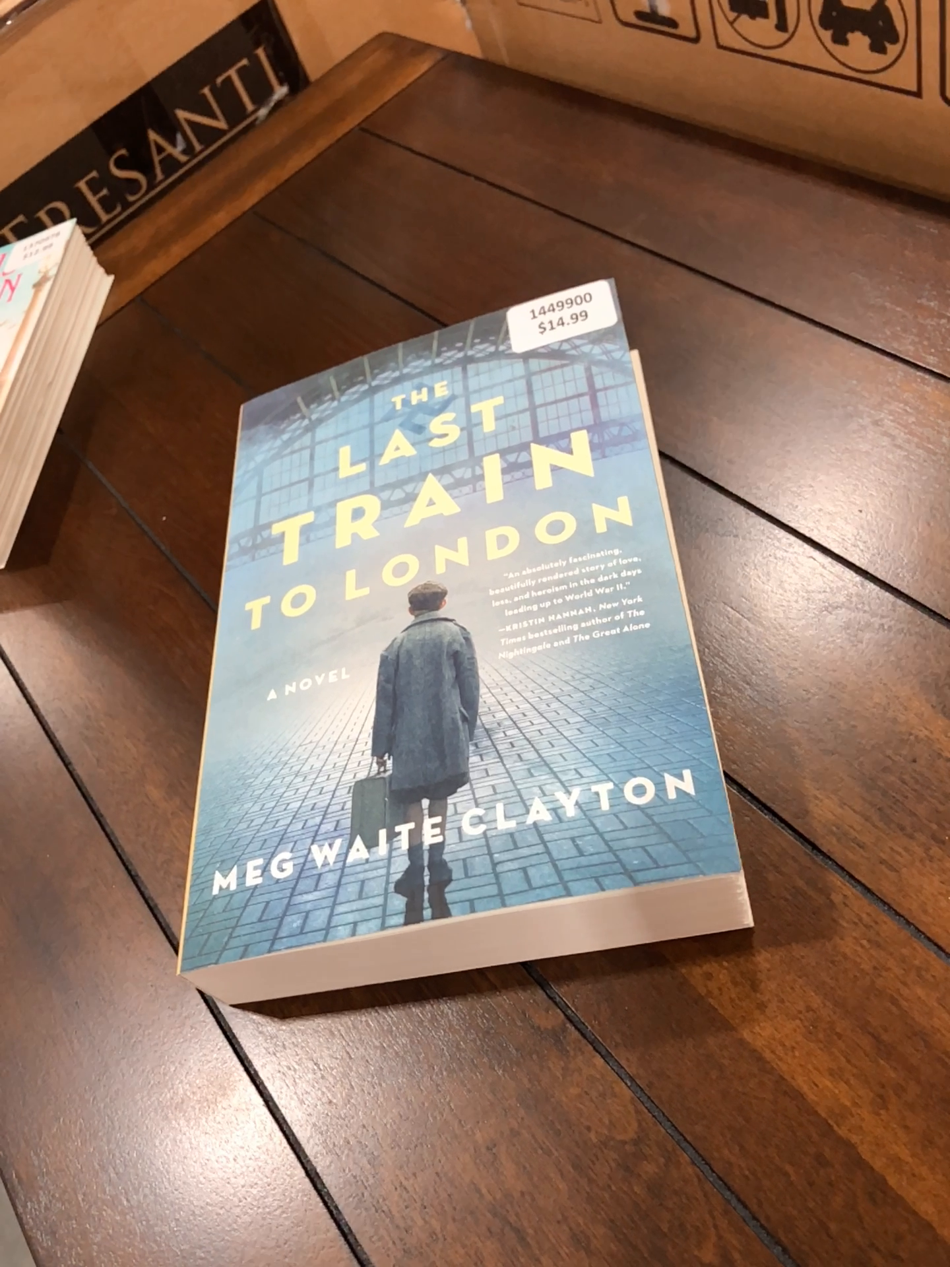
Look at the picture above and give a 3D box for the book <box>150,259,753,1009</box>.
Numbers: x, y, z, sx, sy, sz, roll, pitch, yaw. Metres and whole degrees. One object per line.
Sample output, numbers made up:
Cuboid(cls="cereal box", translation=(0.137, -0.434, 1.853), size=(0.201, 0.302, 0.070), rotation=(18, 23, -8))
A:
Cuboid(cls="book", translation=(-0.012, -0.009, 0.335), size=(0.151, 0.041, 0.221), rotation=(-14, 54, 16))
